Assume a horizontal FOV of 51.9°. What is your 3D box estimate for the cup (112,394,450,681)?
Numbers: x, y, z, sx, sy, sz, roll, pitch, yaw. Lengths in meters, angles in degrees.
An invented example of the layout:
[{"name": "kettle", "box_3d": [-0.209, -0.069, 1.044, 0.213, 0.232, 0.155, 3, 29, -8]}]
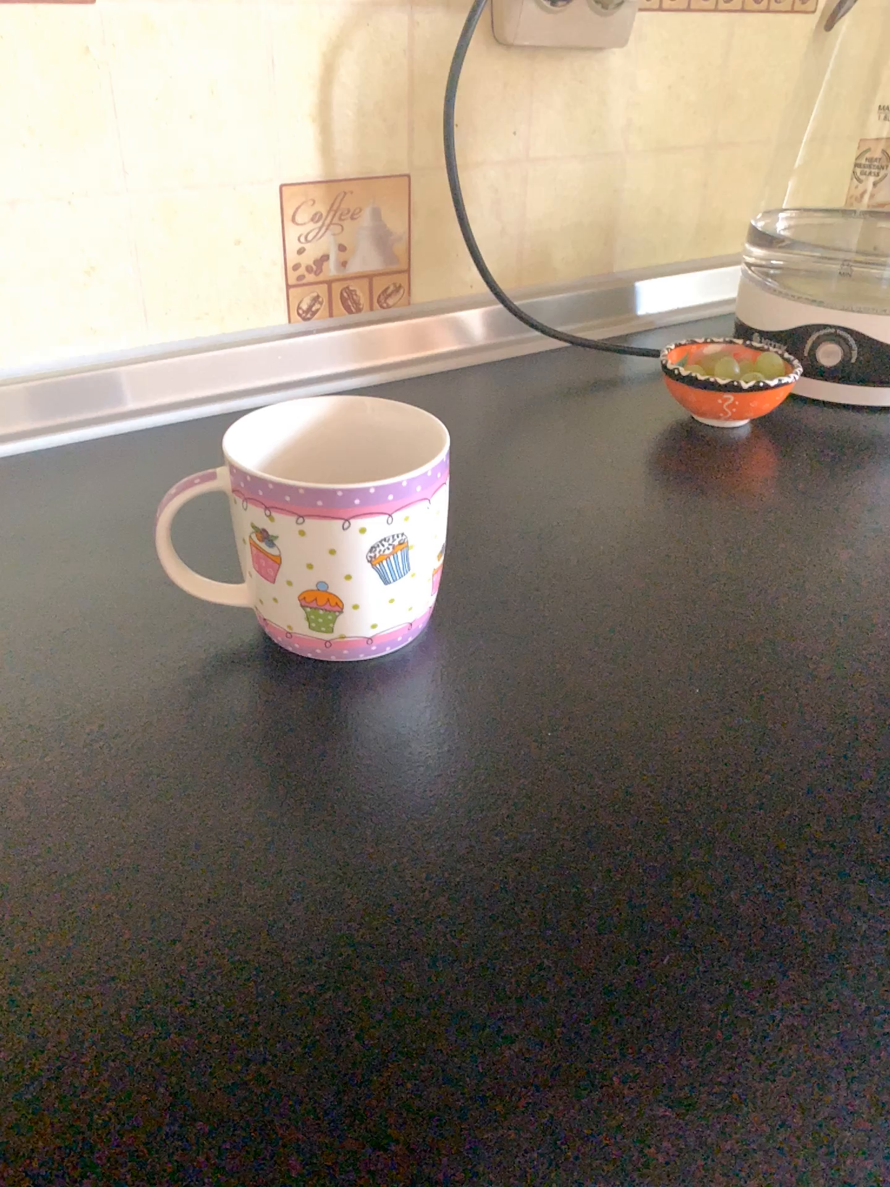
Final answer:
[{"name": "cup", "box_3d": [-0.058, -0.025, 0.356, 0.110, 0.080, 0.080, -2, 32, -6]}]
